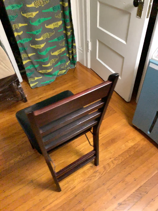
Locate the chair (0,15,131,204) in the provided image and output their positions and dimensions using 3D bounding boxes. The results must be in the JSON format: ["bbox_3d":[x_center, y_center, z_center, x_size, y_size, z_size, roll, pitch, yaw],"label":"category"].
[{"bbox_3d":[-0.144,0.050,0.960,0.490,0.865,0.553,-27,49,-22],"label":"chair"}]
